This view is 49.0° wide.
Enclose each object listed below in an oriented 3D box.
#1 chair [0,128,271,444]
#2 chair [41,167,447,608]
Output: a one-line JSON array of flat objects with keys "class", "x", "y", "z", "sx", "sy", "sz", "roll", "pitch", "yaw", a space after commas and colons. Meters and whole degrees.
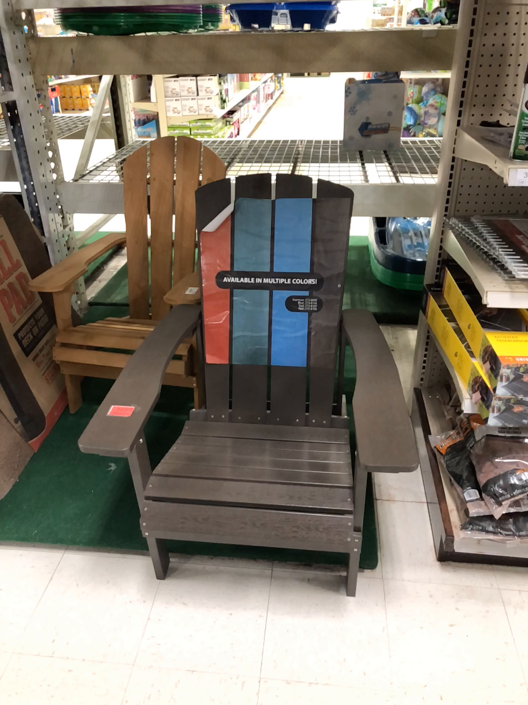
[{"class": "chair", "x": -0.390, "y": -0.326, "z": 2.226, "sx": 0.637, "sy": 0.846, "sz": 0.980, "roll": 5, "pitch": 31, "yaw": 11}, {"class": "chair", "x": 0.011, "y": 0.010, "z": 1.609, "sx": 0.717, "sy": 0.816, "sz": 0.920, "roll": 2, "pitch": 30, "yaw": 6}]
